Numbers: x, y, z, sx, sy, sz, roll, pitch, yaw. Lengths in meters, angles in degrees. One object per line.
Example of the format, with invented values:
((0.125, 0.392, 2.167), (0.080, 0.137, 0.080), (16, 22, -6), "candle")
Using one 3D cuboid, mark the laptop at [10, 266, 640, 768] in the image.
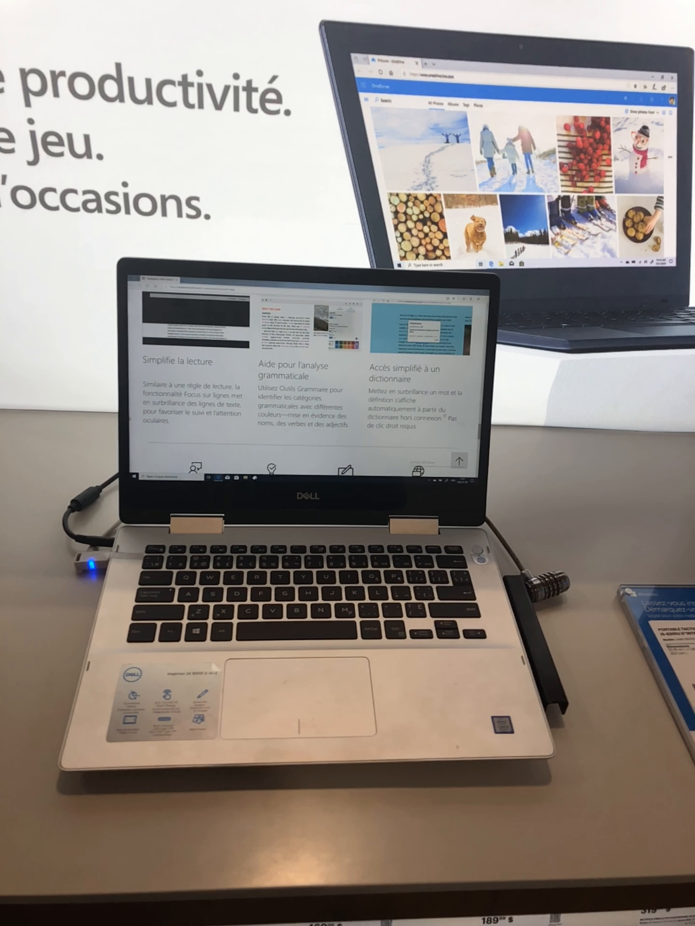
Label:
((-0.025, 0.016, 0.574), (0.316, 0.193, 0.338), (1, 37, -6), "laptop")
